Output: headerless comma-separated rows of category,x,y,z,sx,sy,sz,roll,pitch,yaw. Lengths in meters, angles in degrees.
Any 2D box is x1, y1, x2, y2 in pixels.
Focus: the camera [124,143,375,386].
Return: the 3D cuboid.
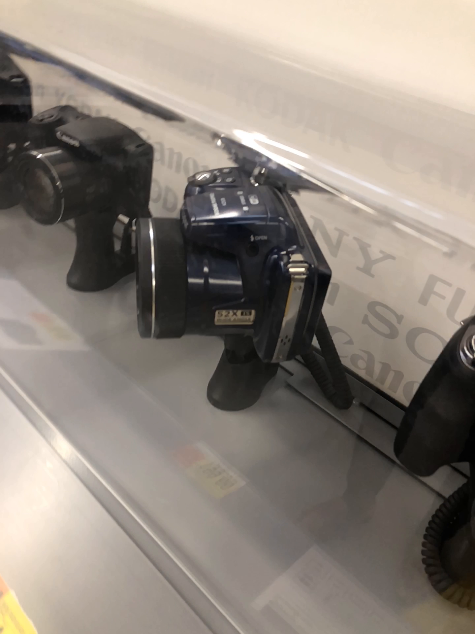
camera,-0.006,-0.034,0.314,0.110,0.090,0.121,2,35,-16
